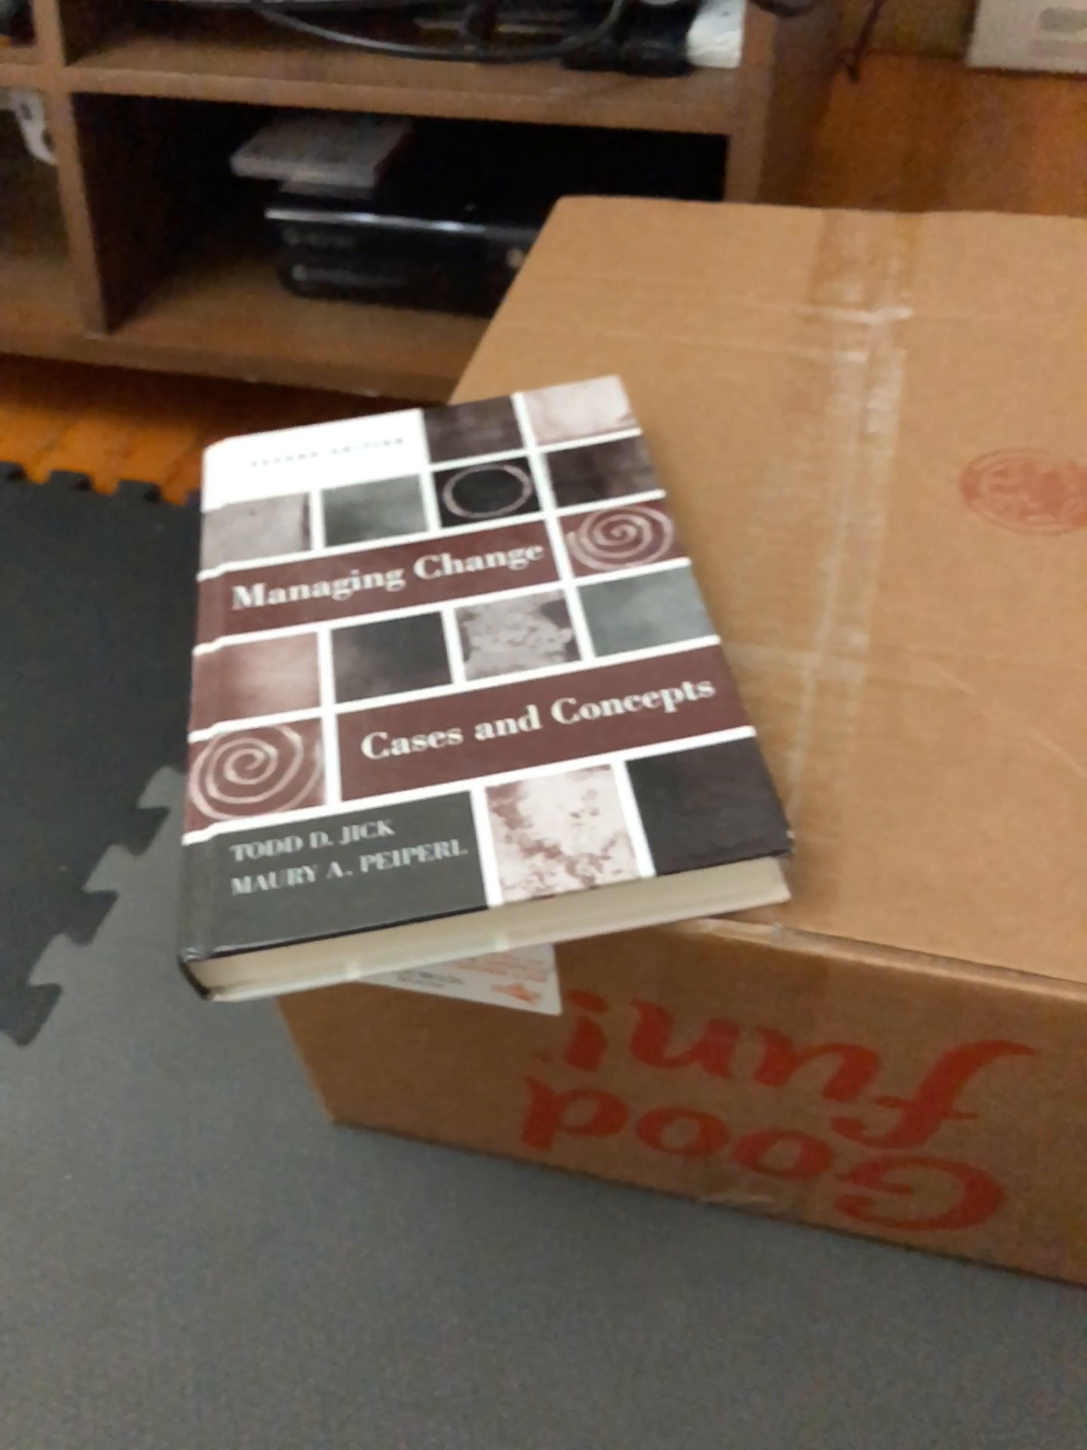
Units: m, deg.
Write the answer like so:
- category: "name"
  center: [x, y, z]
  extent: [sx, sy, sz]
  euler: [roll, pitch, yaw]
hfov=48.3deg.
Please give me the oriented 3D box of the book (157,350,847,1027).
- category: "book"
  center: [-0.029, -0.034, 0.407]
  extent: [0.180, 0.030, 0.251]
  euler: [-9, 48, -4]
